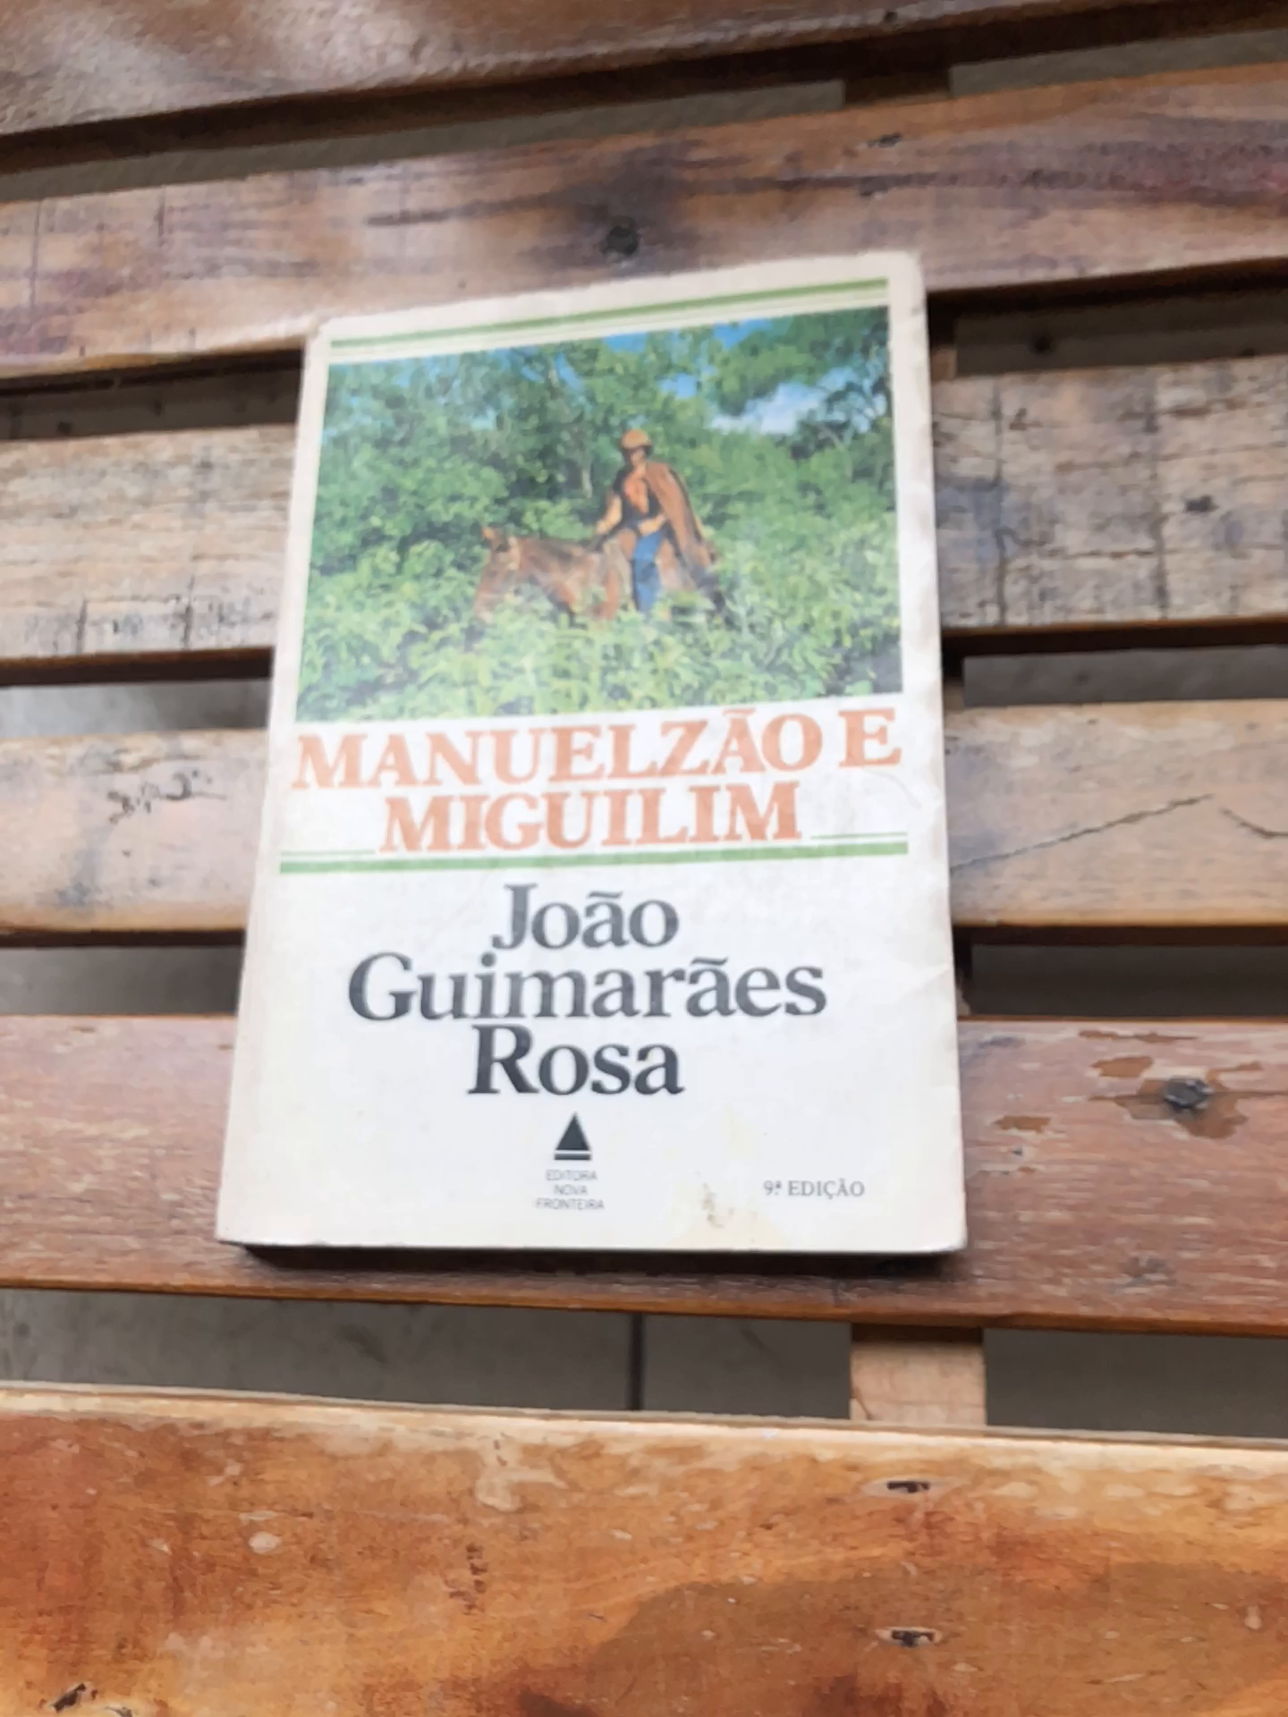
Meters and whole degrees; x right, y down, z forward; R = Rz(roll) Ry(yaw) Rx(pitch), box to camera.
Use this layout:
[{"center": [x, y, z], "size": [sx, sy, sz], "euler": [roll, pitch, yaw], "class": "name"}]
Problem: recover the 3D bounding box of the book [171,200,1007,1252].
[{"center": [-0.010, -0.029, 0.278], "size": [0.141, 0.020, 0.200], "euler": [-3, 73, 9], "class": "book"}]
